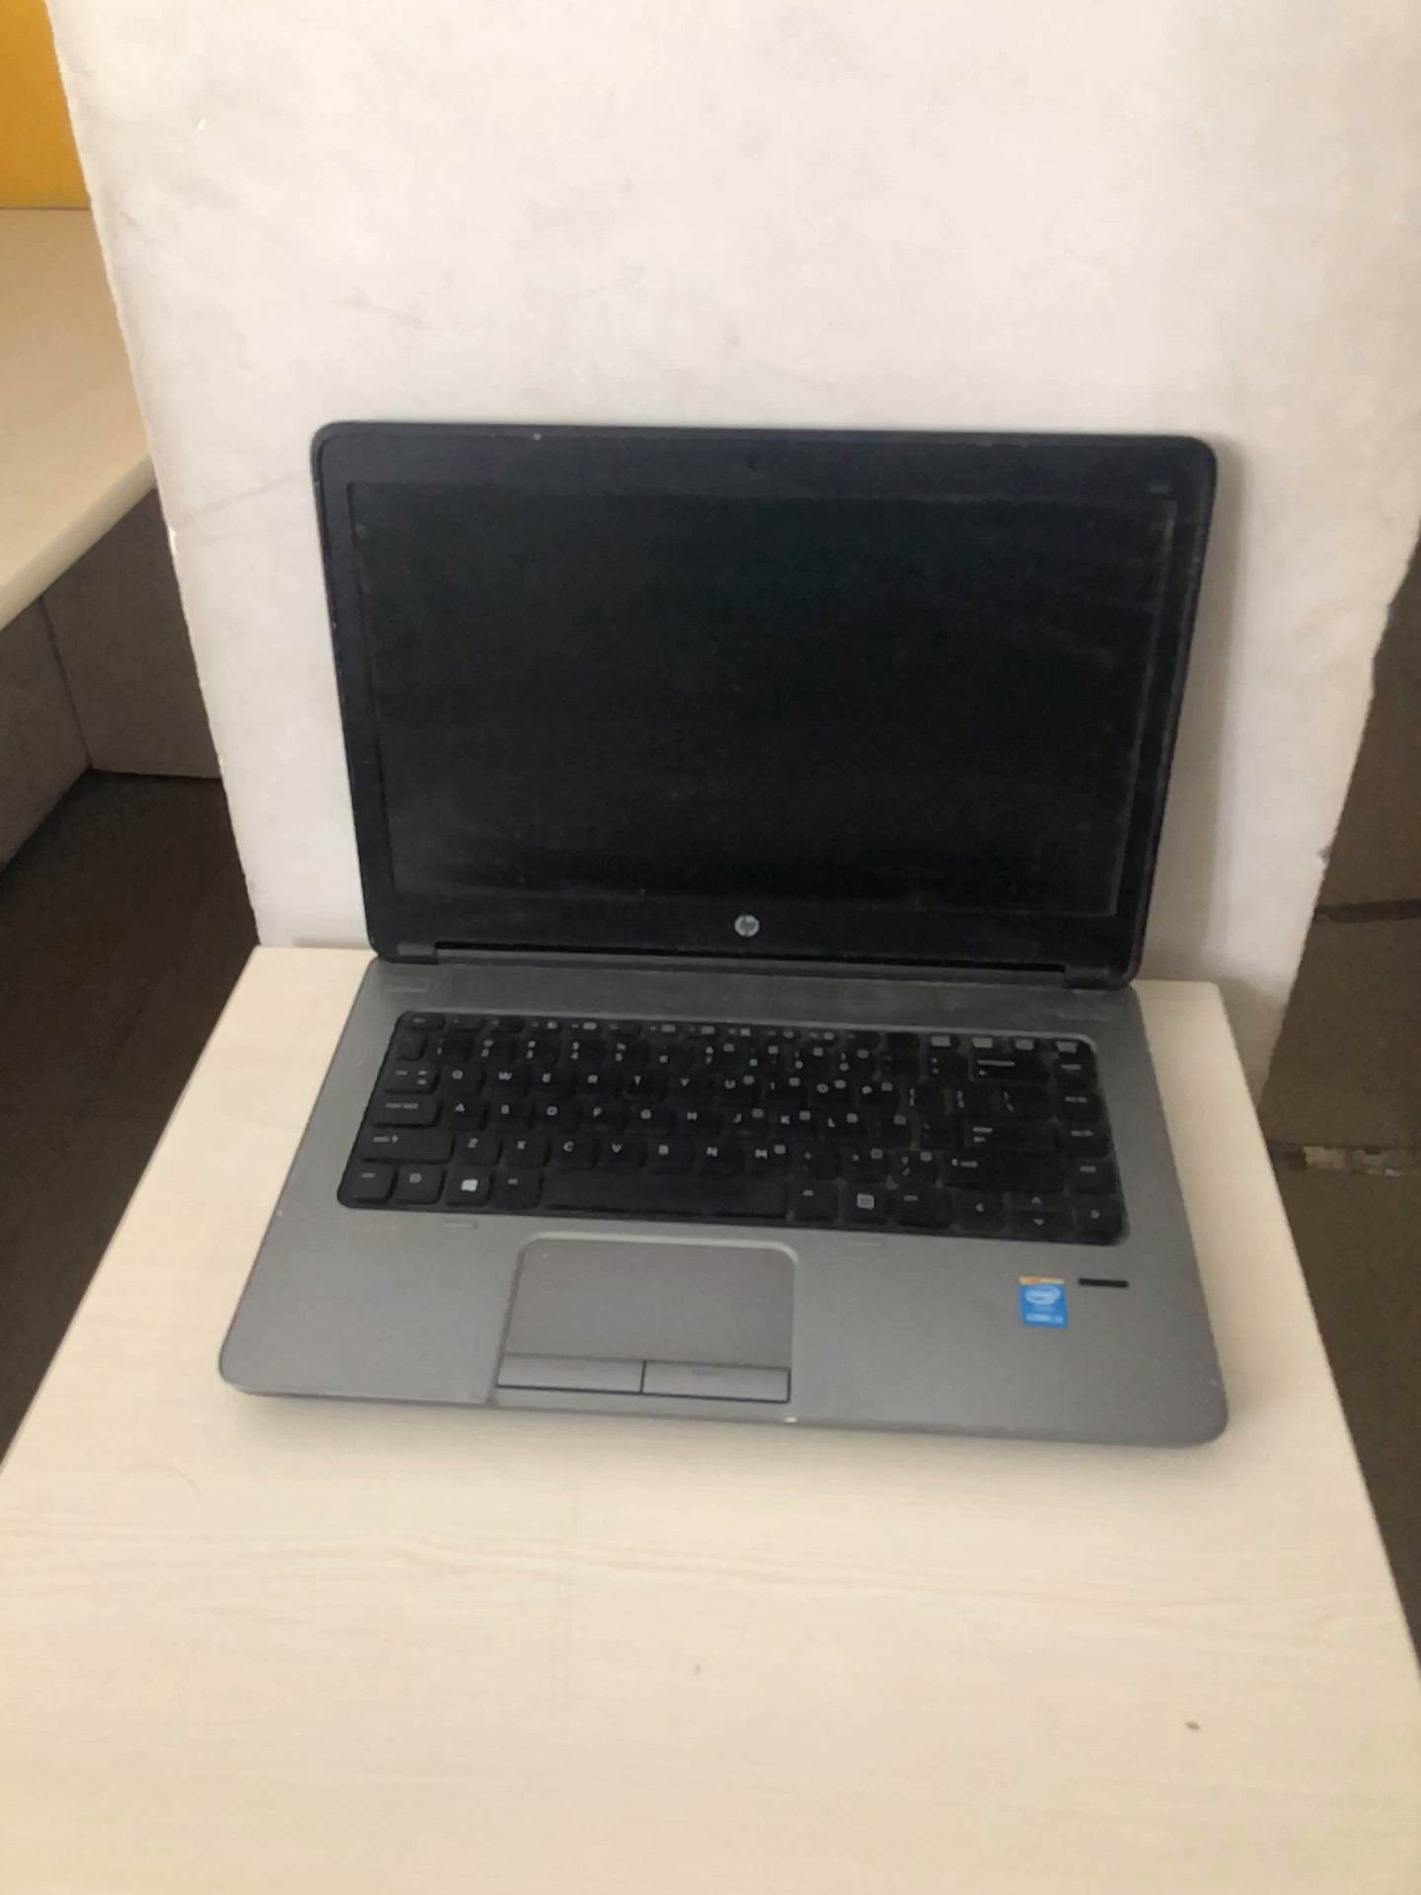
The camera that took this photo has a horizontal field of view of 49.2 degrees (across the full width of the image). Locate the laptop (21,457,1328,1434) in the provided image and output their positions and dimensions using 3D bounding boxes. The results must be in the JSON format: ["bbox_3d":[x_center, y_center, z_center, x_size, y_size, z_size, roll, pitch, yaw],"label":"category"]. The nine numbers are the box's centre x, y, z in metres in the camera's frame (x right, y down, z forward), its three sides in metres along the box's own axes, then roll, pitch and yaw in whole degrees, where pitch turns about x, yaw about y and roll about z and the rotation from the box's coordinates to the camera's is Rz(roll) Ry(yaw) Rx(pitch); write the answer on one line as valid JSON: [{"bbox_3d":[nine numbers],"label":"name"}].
[{"bbox_3d":[0.001,-0.012,0.517,0.304,0.209,0.238,3,38,3],"label":"laptop"}]
